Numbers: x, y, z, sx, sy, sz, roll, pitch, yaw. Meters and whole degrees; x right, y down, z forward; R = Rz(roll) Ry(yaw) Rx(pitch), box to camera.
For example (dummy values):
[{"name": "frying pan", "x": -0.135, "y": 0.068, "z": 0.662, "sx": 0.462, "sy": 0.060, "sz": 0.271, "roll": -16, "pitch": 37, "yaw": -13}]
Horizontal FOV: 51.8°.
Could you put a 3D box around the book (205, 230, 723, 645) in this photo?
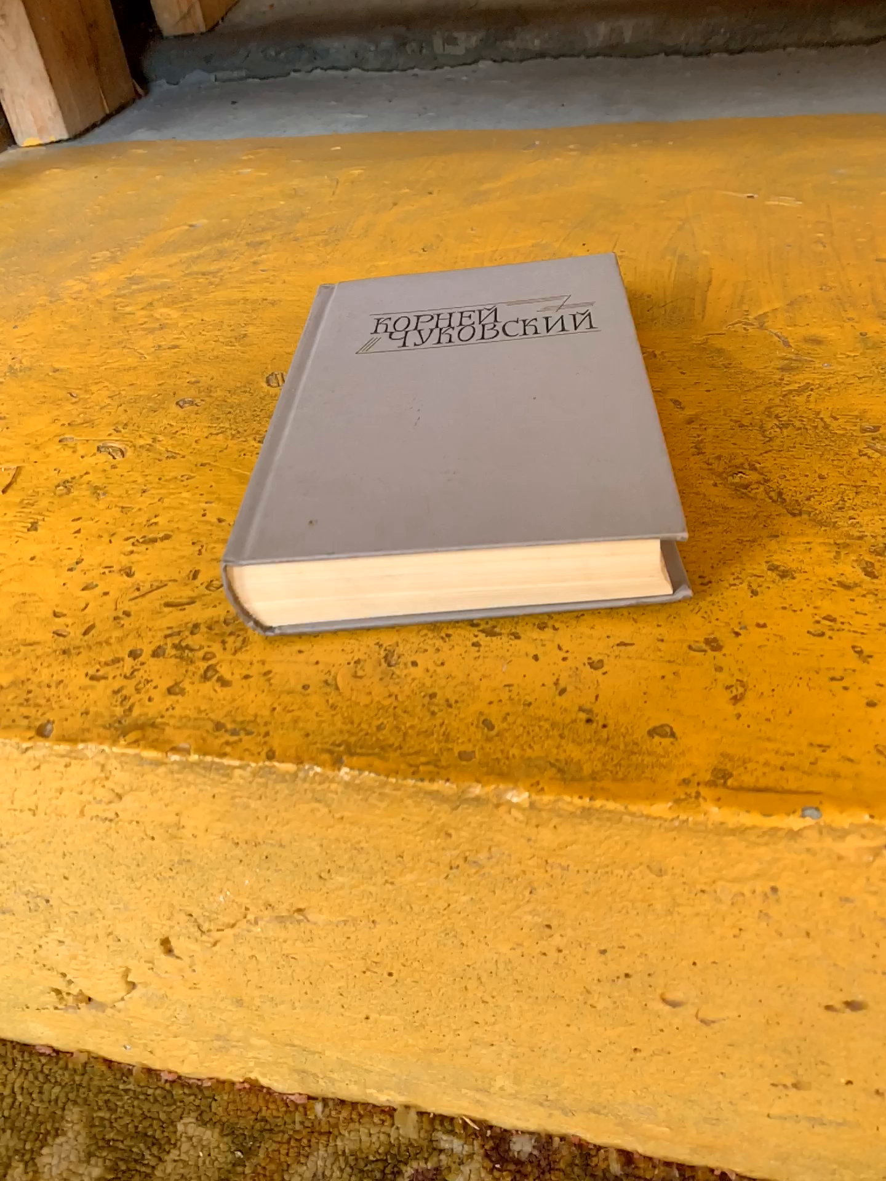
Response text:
[{"name": "book", "x": 0.010, "y": -0.071, "z": 0.335, "sx": 0.139, "sy": 0.030, "sz": 0.217, "roll": -4, "pitch": 40, "yaw": 7}]
